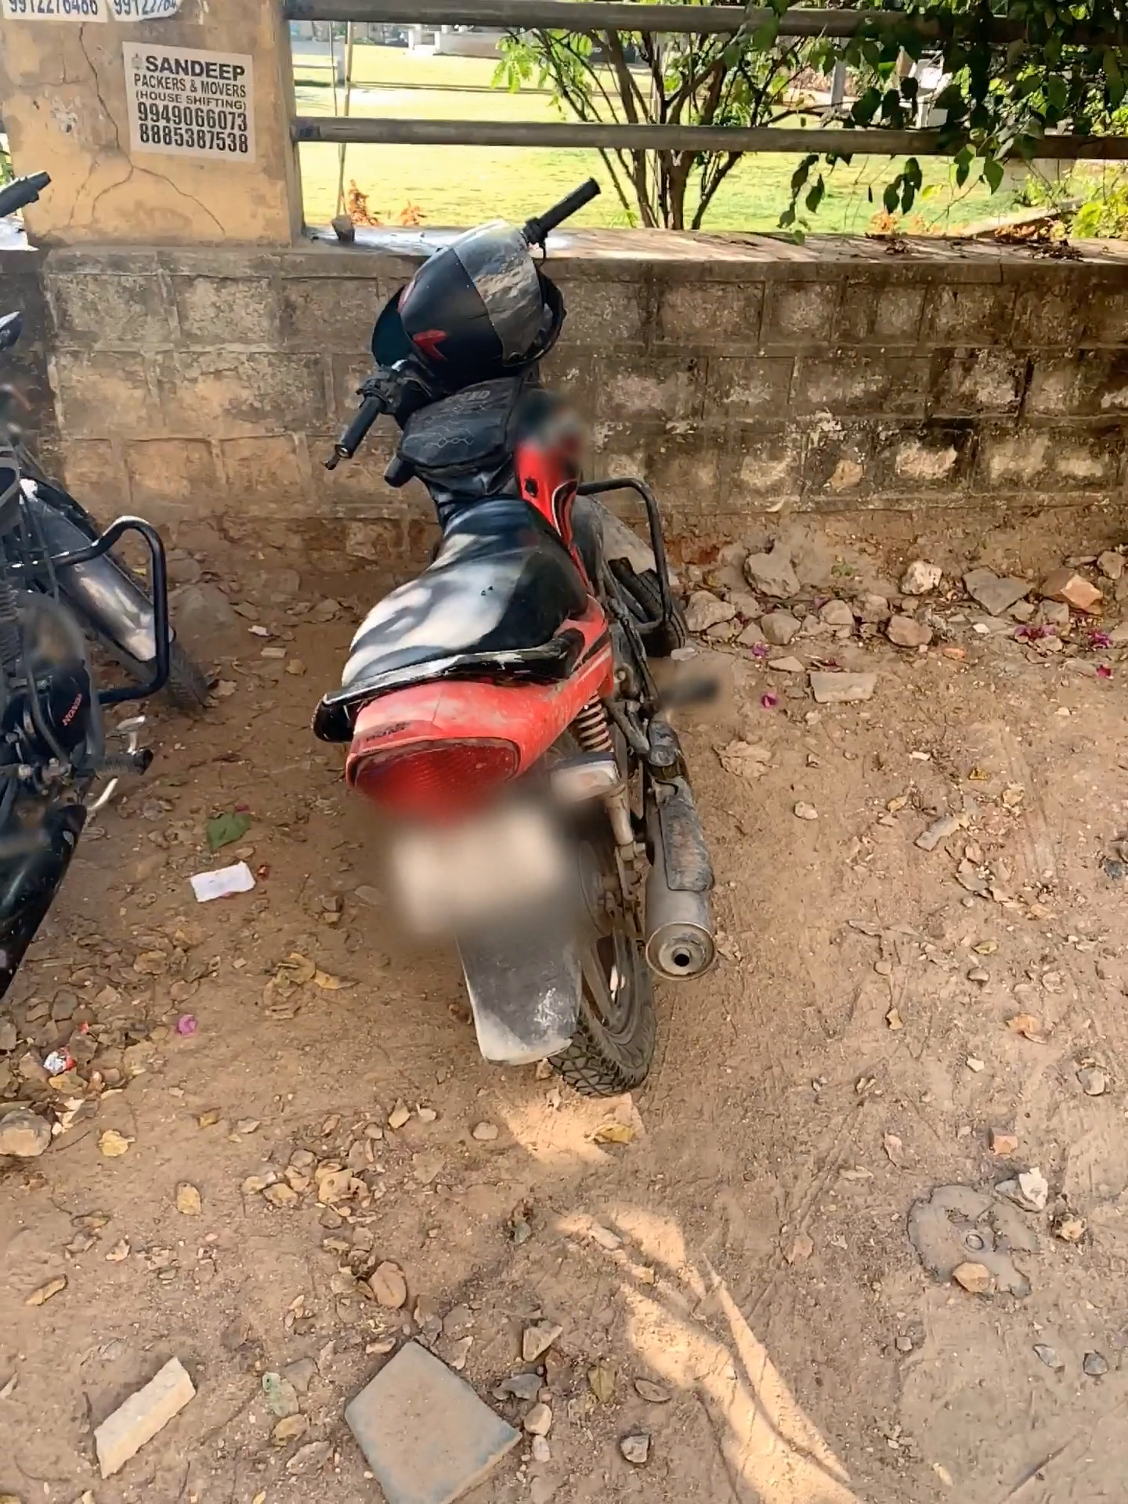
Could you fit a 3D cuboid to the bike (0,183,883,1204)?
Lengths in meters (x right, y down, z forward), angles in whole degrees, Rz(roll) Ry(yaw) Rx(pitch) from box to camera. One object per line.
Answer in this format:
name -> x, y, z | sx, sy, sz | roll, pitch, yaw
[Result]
bike -> -0.260, -0.265, 2.074 | 1.063, 1.245, 1.604 | 1, 30, -2
